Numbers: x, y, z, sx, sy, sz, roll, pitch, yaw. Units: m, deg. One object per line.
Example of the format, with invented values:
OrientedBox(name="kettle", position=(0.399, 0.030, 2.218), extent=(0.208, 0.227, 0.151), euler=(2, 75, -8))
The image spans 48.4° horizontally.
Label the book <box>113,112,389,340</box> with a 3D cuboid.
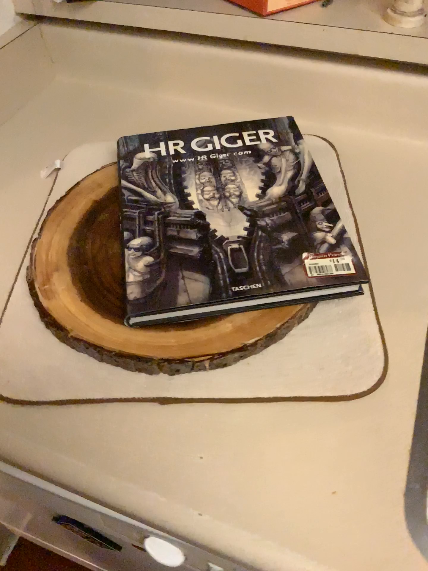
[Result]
OrientedBox(name="book", position=(0.018, -0.099, 0.589), extent=(0.270, 0.030, 0.330), euler=(-9, 50, -4))
